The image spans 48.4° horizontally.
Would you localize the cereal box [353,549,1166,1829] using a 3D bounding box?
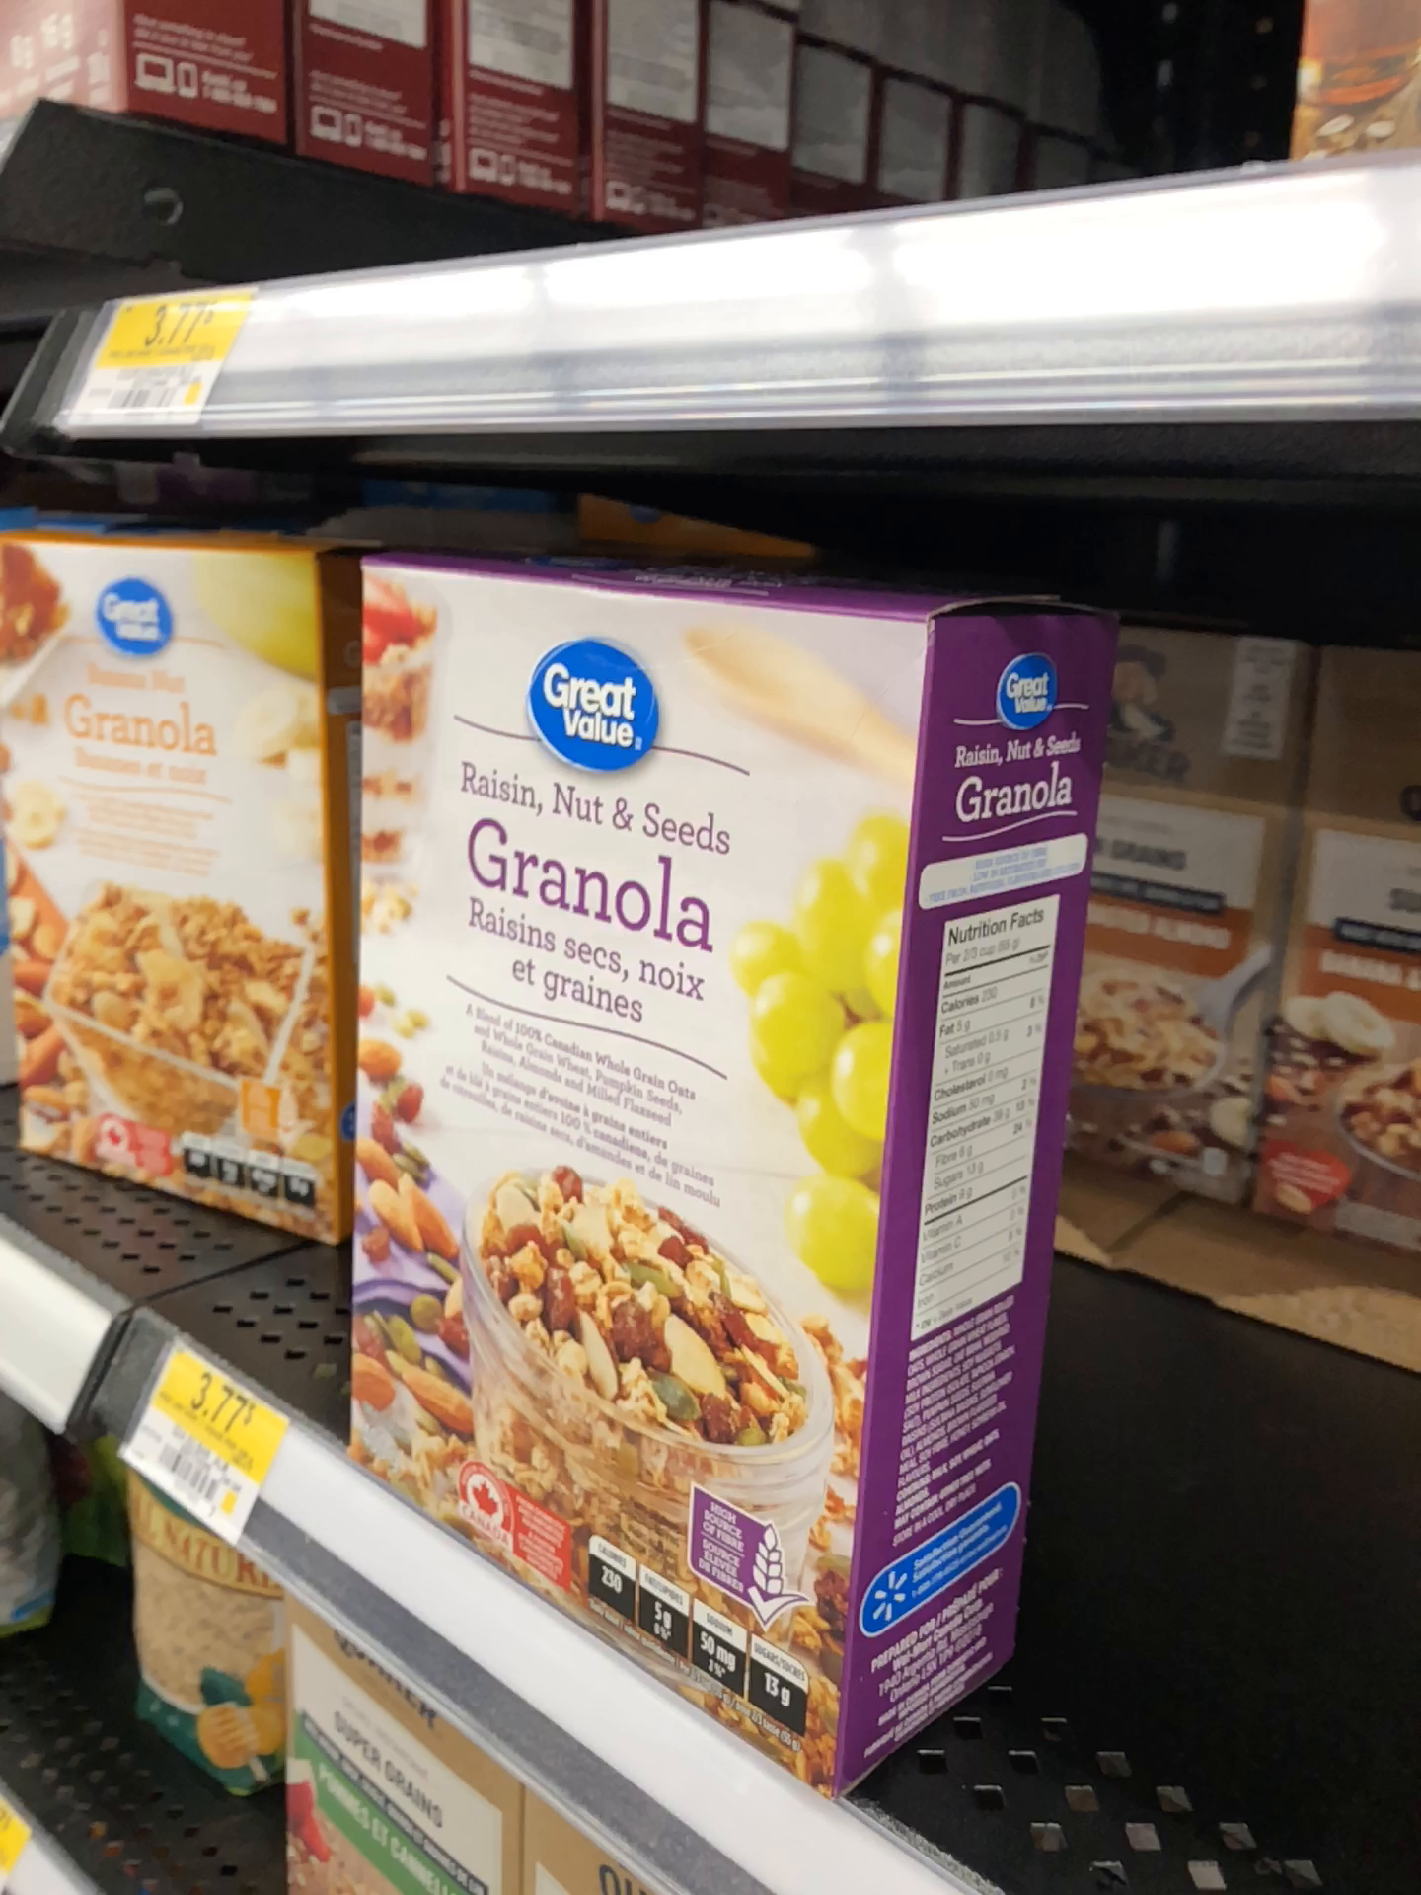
[{"bbox_3d":[-0.004,0.032,0.336,0.160,0.219,0.060,15,18,41],"label":"cereal box"}]
